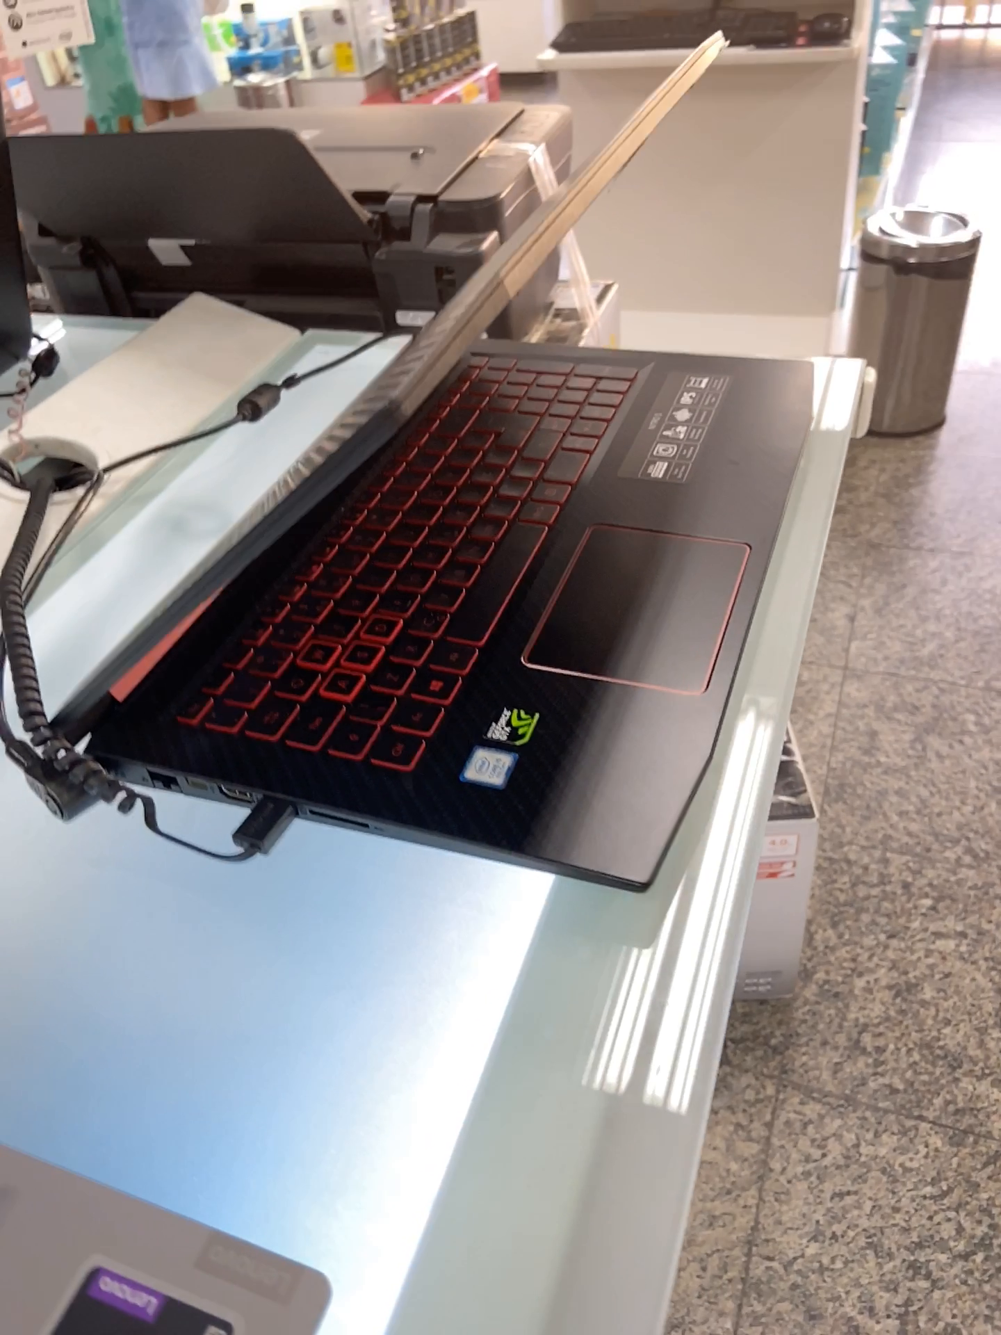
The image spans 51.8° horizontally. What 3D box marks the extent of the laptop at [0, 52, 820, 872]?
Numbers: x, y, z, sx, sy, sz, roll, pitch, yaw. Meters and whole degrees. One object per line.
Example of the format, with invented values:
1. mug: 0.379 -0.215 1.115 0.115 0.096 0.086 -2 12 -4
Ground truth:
1. laptop: -0.010 -0.133 0.460 0.234 0.163 0.382 9 43 19
